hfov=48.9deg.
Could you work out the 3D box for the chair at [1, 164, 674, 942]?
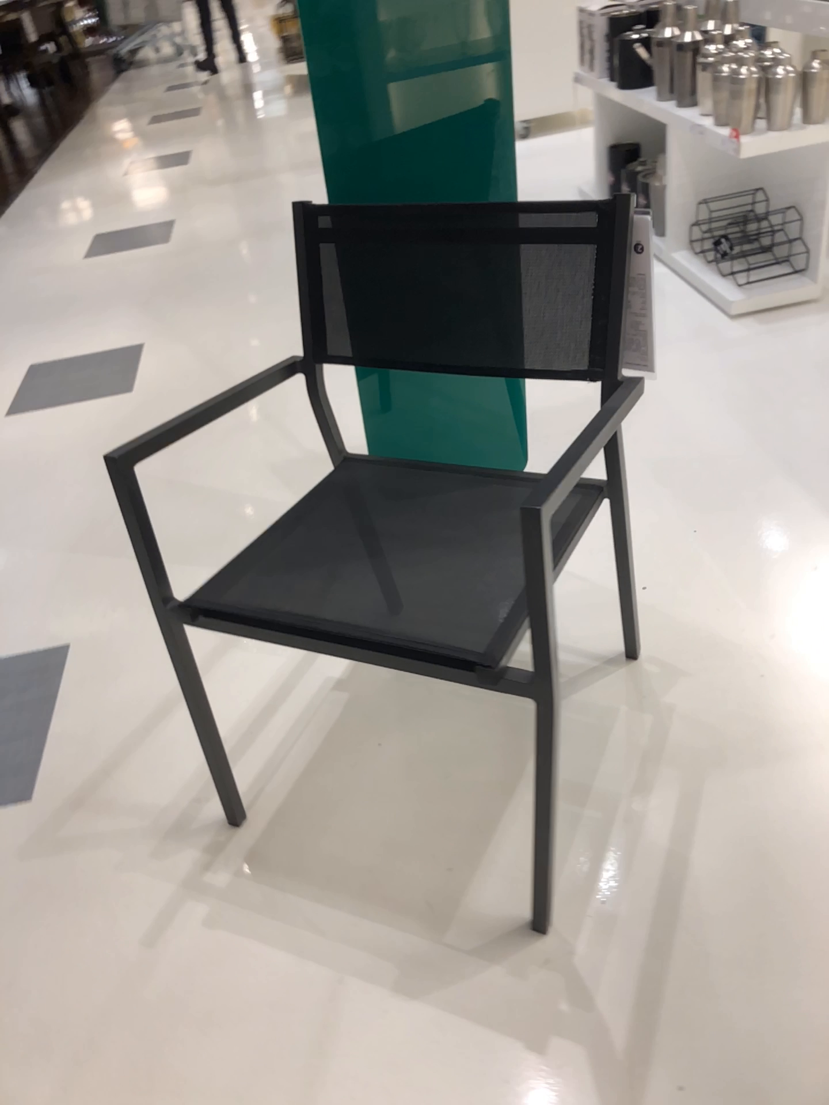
[{"bbox_3d":[0.002,-0.034,1.282,0.571,0.794,0.604,9,39,25],"label":"chair"}]
